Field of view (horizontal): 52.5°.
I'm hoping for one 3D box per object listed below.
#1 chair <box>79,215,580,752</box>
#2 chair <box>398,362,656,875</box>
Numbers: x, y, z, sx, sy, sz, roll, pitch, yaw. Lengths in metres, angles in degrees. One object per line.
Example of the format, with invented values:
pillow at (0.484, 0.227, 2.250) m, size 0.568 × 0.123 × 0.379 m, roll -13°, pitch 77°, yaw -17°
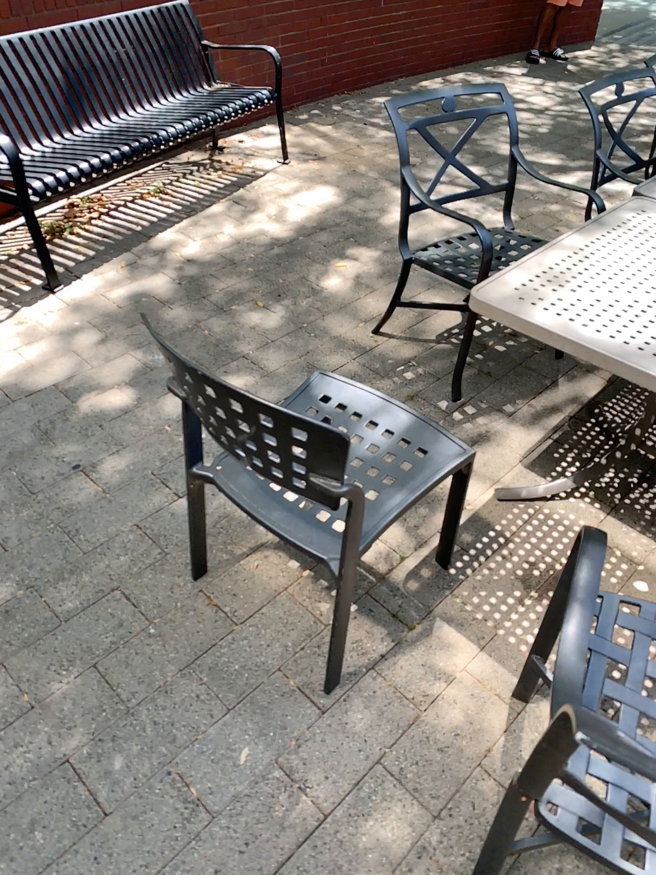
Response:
chair at (0.010, 0.050, 1.411) m, size 0.622 × 0.706 × 0.652 m, roll 29°, pitch 47°, yaw 29°
chair at (0.529, 0.454, 0.906) m, size 0.621 × 0.755 × 0.653 m, roll 17°, pitch 42°, yaw 17°
